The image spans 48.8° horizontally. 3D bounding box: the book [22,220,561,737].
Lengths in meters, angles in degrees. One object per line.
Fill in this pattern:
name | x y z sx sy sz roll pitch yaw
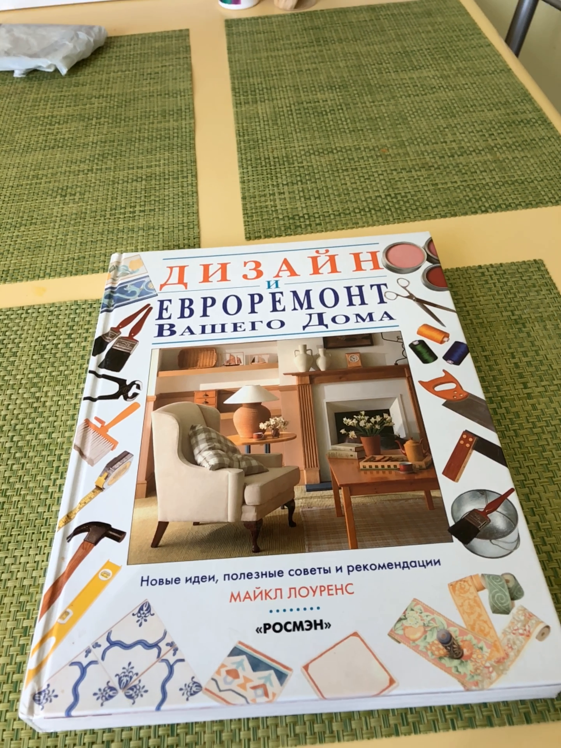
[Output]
book | 0.008 0.022 0.326 0.213 0.038 0.277 -3 49 -1
